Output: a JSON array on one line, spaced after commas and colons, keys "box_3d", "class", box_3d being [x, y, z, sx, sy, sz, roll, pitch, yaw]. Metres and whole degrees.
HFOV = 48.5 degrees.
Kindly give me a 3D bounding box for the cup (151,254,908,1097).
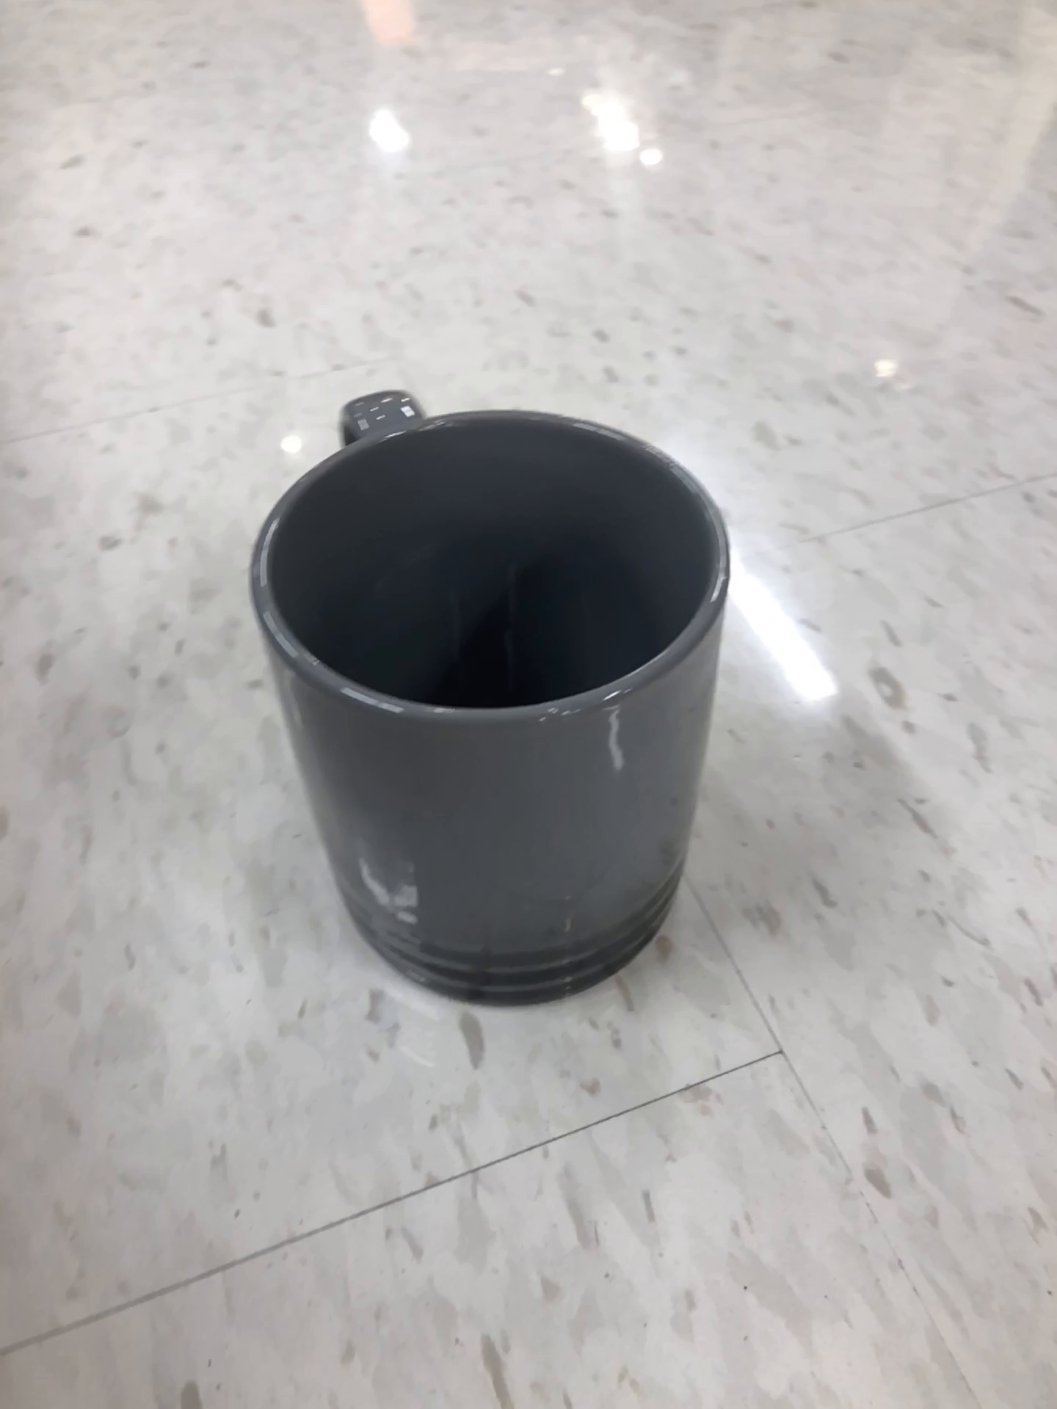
[{"box_3d": [-0.011, -0.016, 0.266, 0.100, 0.089, 0.151, -17, 50, -15], "class": "cup"}]
